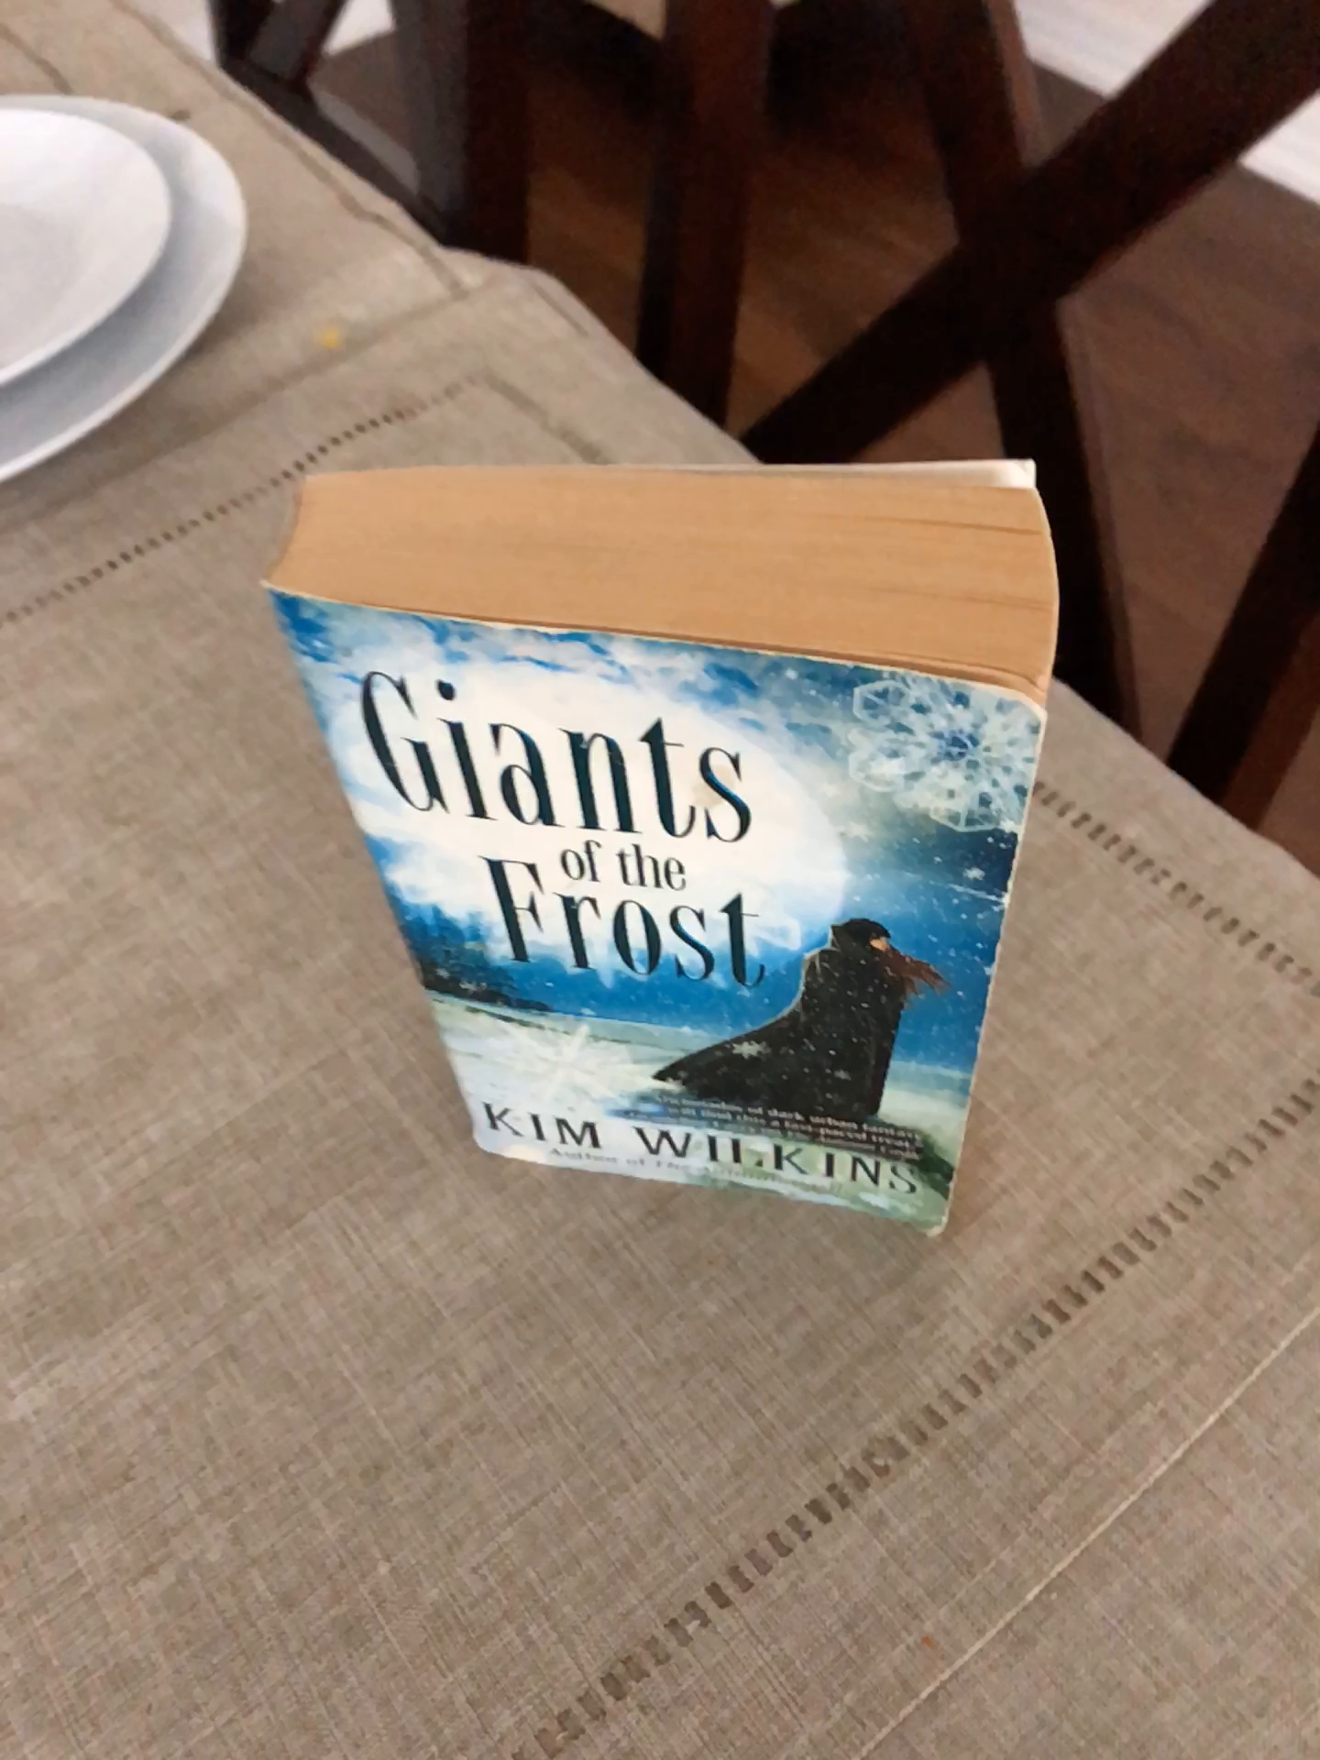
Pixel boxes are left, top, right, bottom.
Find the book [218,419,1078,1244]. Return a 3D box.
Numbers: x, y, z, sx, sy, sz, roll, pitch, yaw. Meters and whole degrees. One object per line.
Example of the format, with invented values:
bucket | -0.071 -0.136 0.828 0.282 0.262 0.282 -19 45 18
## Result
book | 0.006 0.004 0.267 0.111 0.168 0.043 6 54 10
